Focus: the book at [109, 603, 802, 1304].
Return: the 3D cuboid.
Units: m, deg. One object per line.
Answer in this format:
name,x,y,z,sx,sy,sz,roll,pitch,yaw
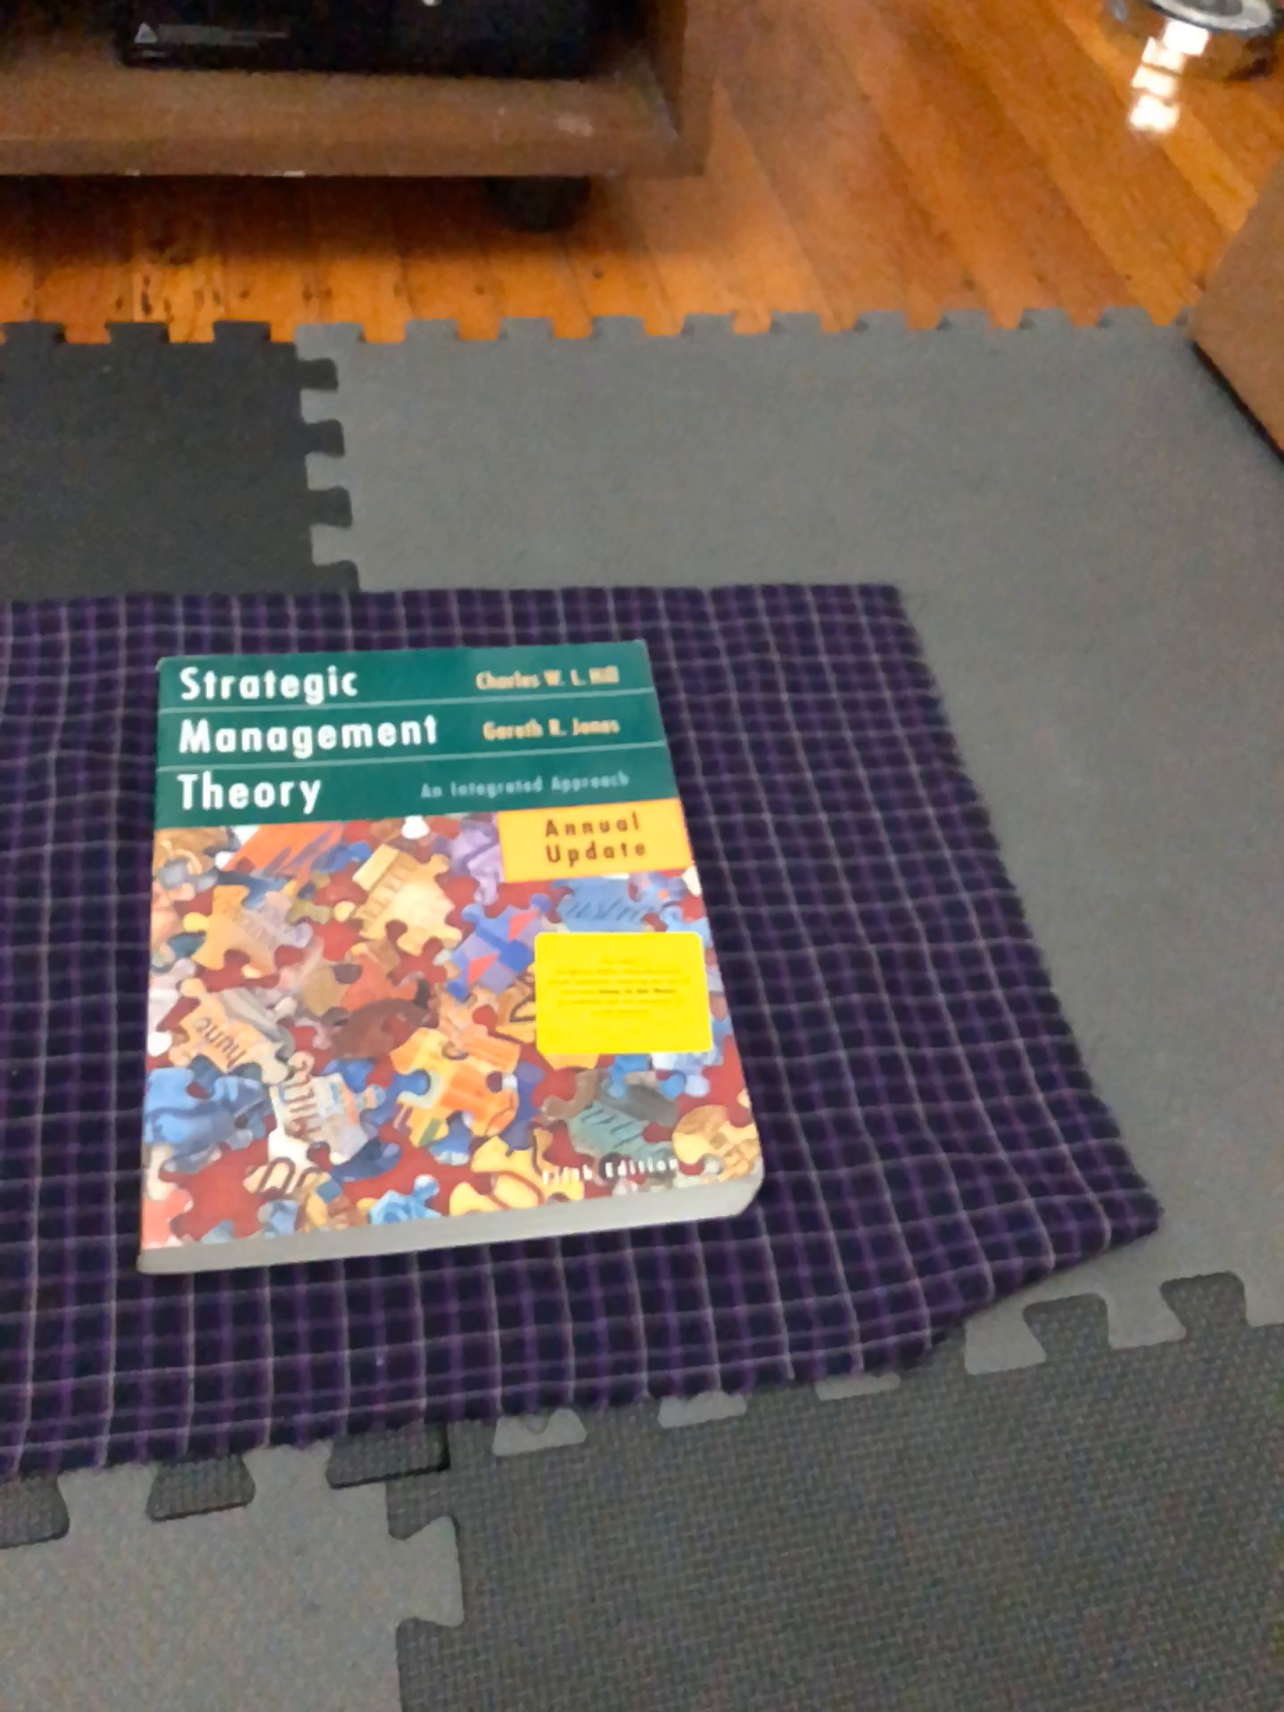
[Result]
book,-0.080,0.019,0.569,0.230,0.040,0.281,-4,56,-10
